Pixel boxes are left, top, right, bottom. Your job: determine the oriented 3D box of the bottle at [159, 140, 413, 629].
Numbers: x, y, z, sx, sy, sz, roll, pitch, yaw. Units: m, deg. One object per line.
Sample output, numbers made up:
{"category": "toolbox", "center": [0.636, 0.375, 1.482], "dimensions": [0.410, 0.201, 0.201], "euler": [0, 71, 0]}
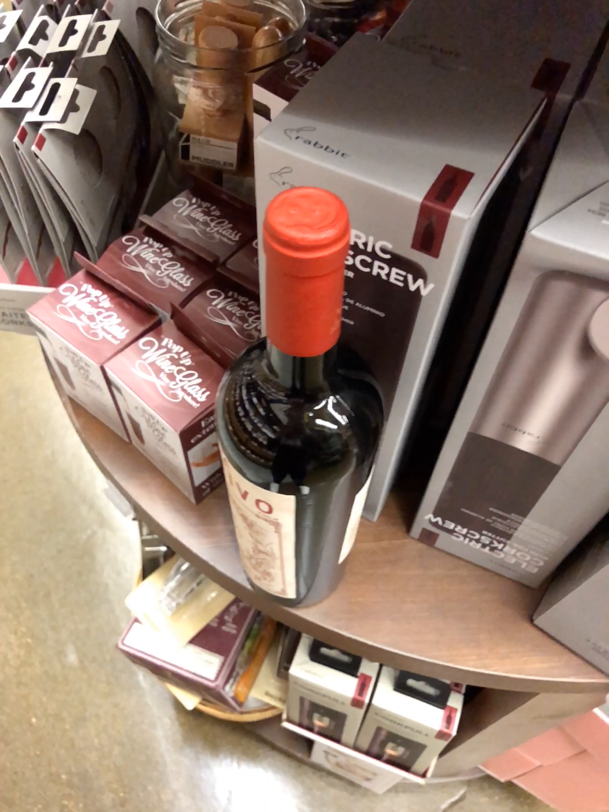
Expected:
{"category": "bottle", "center": [-0.010, 0.026, 0.333], "dimensions": [0.071, 0.299, 0.072], "euler": [0, 56, 0]}
